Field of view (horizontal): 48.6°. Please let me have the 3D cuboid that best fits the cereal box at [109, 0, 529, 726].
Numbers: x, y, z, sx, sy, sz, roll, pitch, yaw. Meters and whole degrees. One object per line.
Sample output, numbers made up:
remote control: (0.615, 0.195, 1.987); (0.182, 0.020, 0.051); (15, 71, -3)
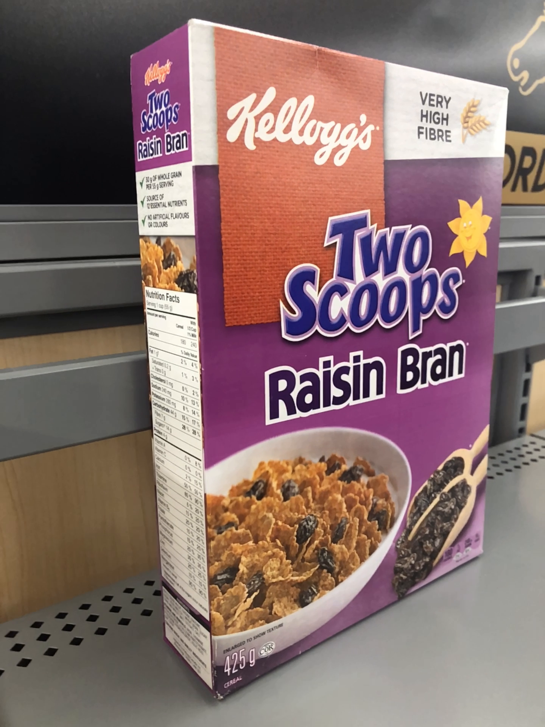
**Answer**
cereal box: (0.039, -0.005, 0.299); (0.210, 0.269, 0.050); (-10, 14, -36)
